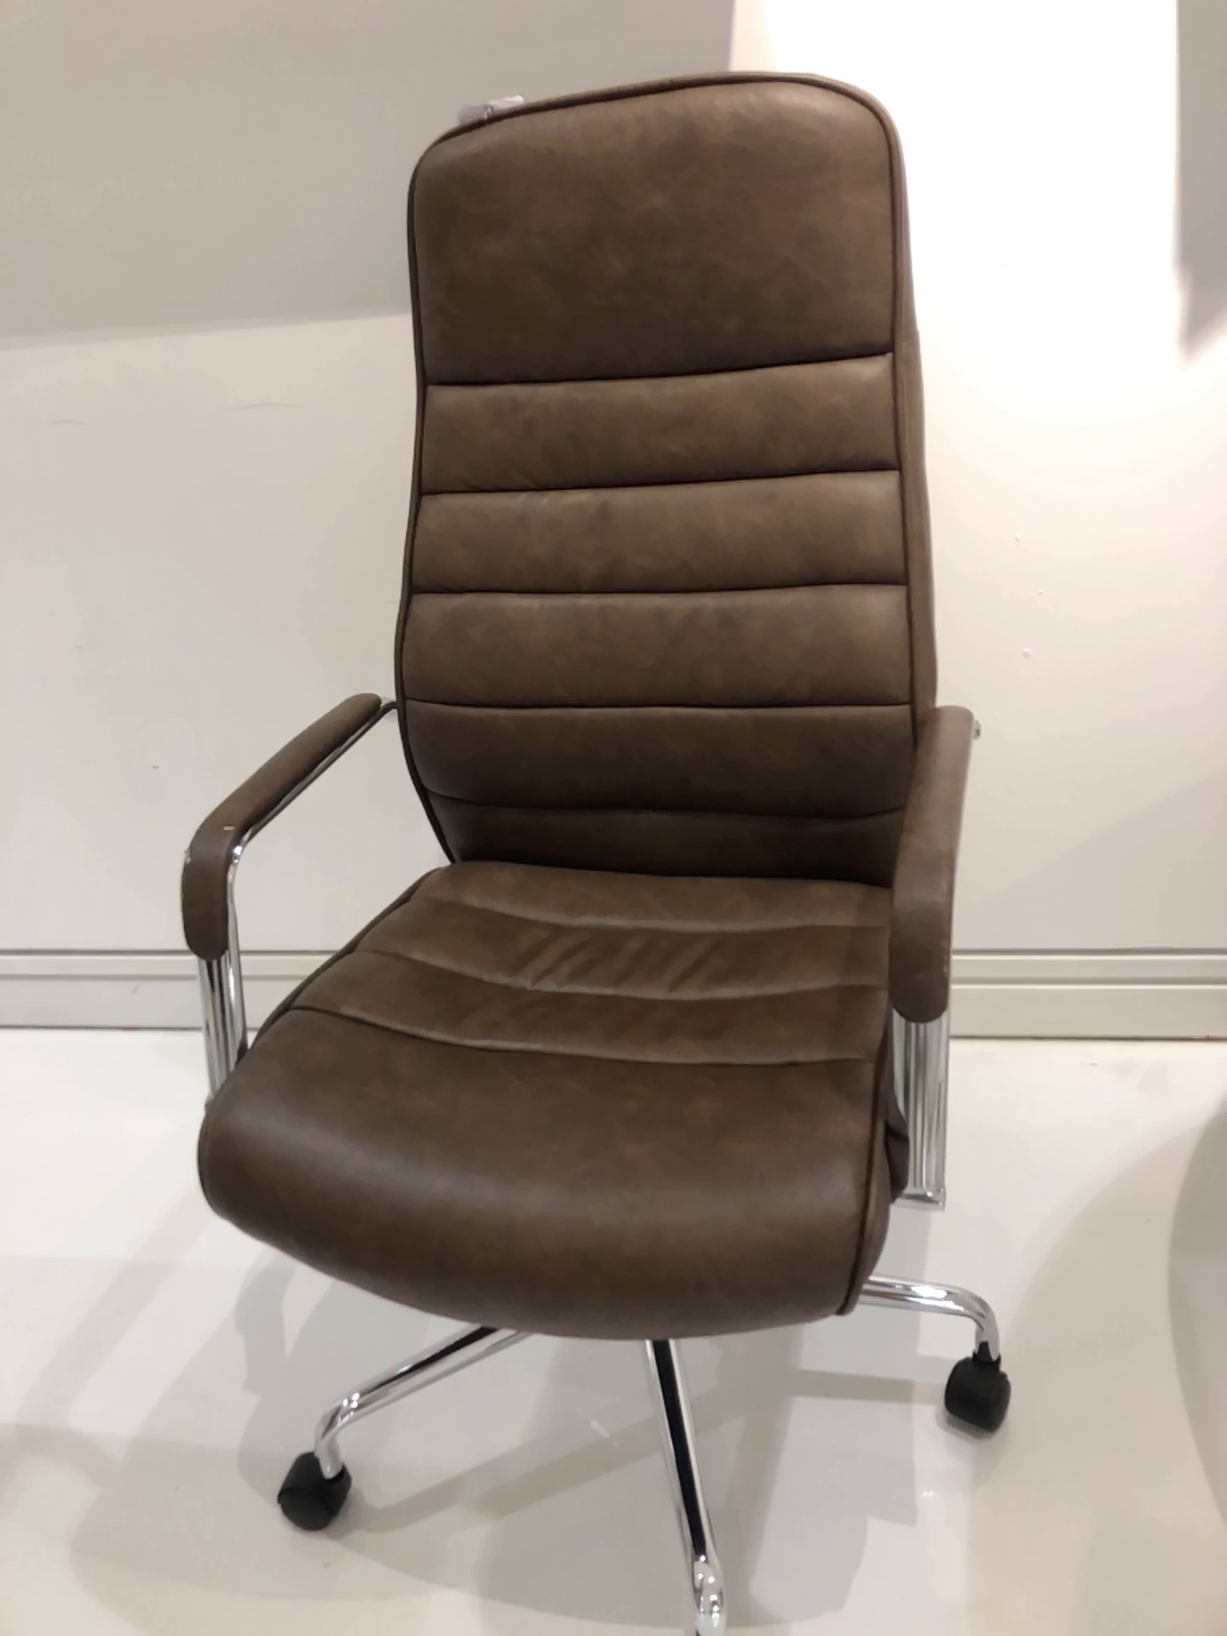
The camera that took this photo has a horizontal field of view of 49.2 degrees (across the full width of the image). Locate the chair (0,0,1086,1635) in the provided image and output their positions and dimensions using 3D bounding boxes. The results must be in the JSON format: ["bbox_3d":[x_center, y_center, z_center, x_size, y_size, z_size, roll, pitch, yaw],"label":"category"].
[{"bbox_3d":[-0.002,0.028,1.139,0.700,1.172,0.785,3,28,19],"label":"chair"}]
